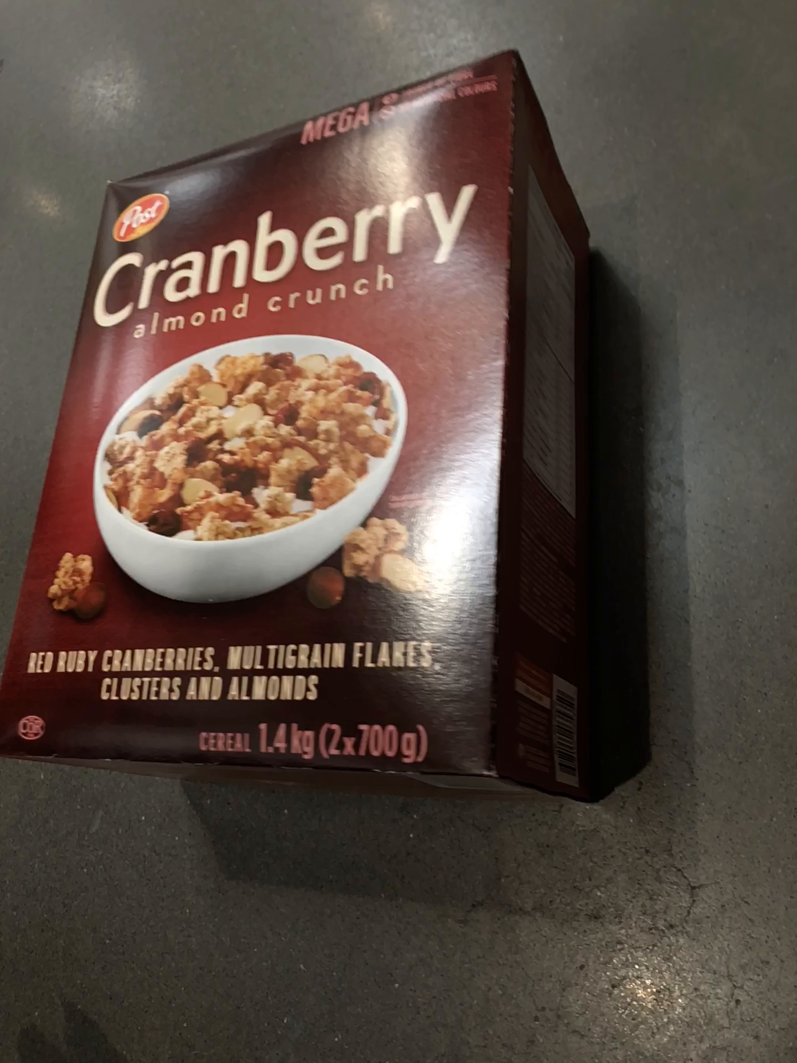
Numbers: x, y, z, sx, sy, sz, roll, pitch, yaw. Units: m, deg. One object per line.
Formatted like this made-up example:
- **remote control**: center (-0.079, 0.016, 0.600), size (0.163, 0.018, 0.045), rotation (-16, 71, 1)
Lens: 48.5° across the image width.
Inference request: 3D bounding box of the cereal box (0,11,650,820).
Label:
- **cereal box**: center (-0.030, -0.035, 0.421), size (0.261, 0.130, 0.310), rotation (-5, 69, 25)
